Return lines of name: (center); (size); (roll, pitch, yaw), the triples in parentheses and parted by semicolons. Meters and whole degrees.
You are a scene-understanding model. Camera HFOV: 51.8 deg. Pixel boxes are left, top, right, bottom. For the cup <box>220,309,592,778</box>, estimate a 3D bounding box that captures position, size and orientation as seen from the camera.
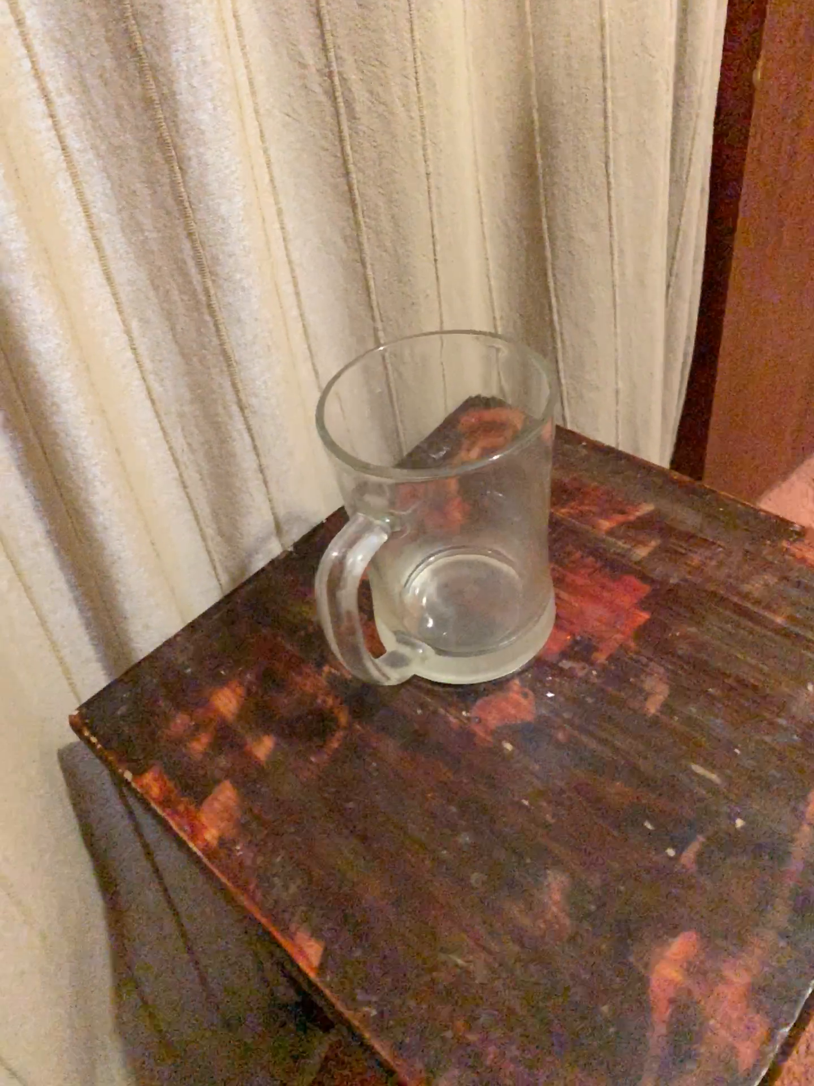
cup: (0.014, -0.005, 0.378); (0.101, 0.135, 0.143); (11, 46, 22)
